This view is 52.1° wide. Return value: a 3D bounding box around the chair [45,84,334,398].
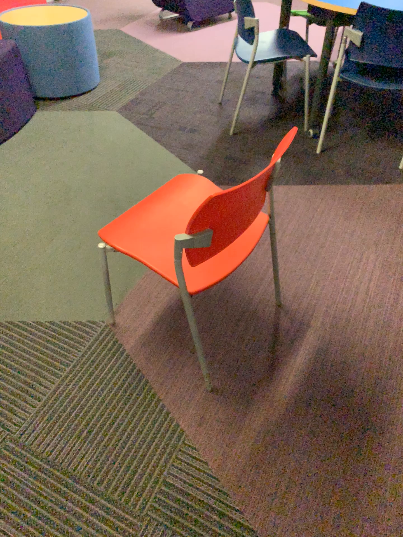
[{"bbox_3d":[-0.034,-0.107,1.350,0.562,0.684,0.543,33,52,28],"label":"chair"}]
